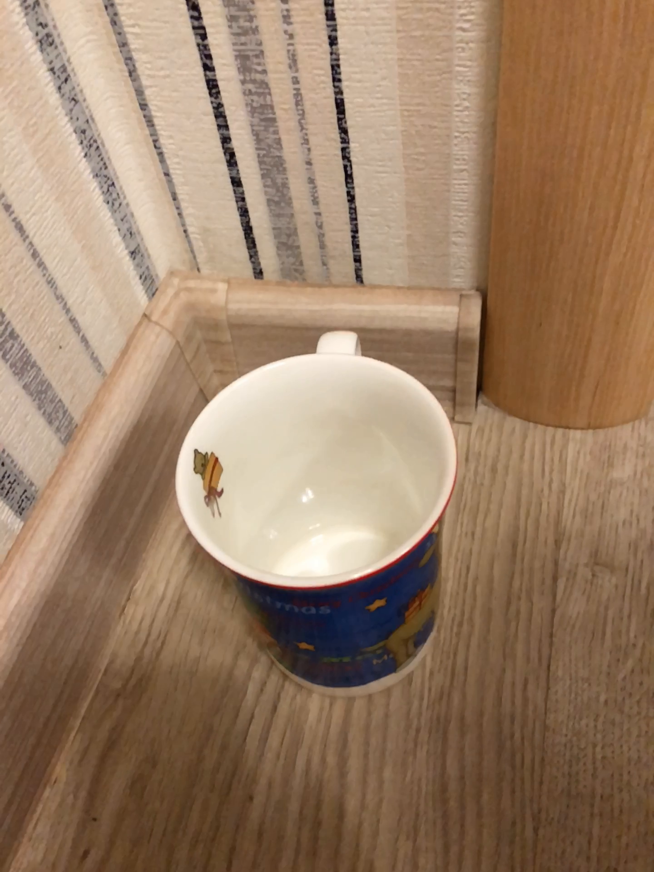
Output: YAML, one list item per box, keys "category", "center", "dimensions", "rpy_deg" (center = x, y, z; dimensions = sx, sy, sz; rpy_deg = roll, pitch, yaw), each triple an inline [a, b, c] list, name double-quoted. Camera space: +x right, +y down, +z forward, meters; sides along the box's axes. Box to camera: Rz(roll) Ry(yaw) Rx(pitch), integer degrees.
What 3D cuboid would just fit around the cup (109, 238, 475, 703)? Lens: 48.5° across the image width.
- category: "cup"
  center: [-0.001, 0.013, 0.244]
  dimensions: [0.087, 0.094, 0.121]
  rpy_deg: [-2, 53, 7]
